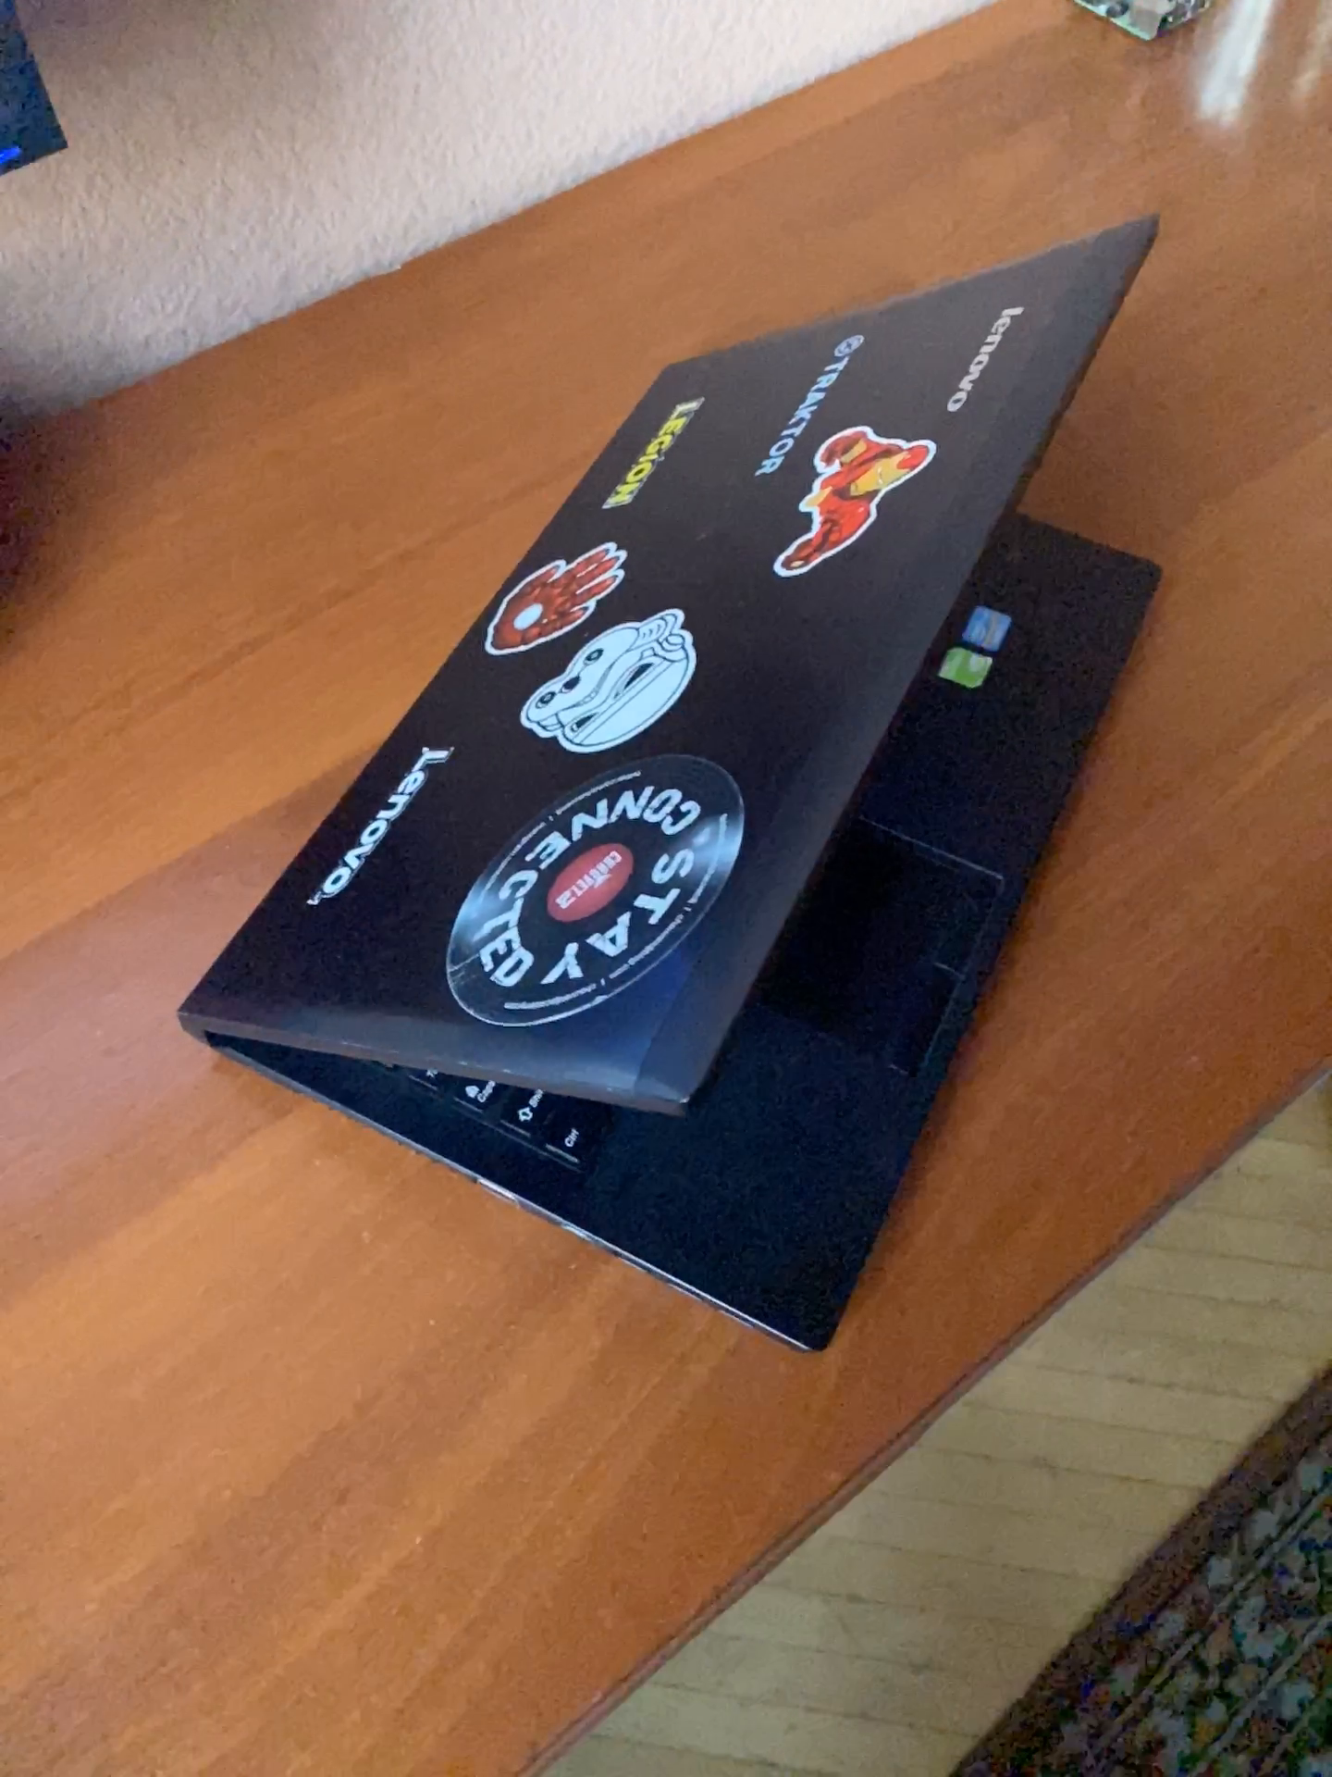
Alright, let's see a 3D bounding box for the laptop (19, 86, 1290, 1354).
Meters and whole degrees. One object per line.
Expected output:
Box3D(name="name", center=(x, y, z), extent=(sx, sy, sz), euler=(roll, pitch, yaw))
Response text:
Box3D(name="laptop", center=(0.024, -0.084, 0.489), extent=(0.256, 0.149, 0.378), euler=(24, 62, 12))
